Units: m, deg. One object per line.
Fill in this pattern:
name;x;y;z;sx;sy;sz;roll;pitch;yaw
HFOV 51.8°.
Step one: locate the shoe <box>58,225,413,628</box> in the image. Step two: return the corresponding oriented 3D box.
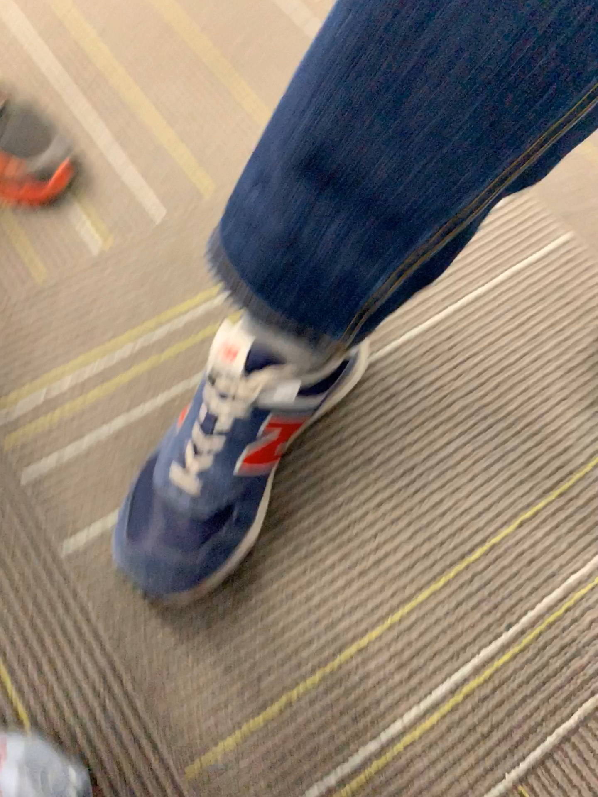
shoe;-0.037;0.024;0.525;0.108;0.139;0.307;31;69;11
